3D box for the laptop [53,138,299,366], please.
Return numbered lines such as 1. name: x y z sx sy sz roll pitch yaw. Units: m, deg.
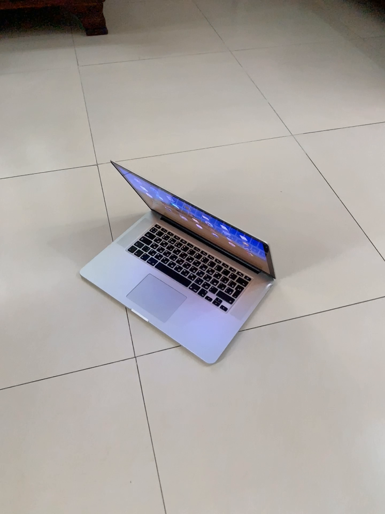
1. laptop: -0.033 -0.024 0.774 0.359 0.207 0.242 30 56 21
